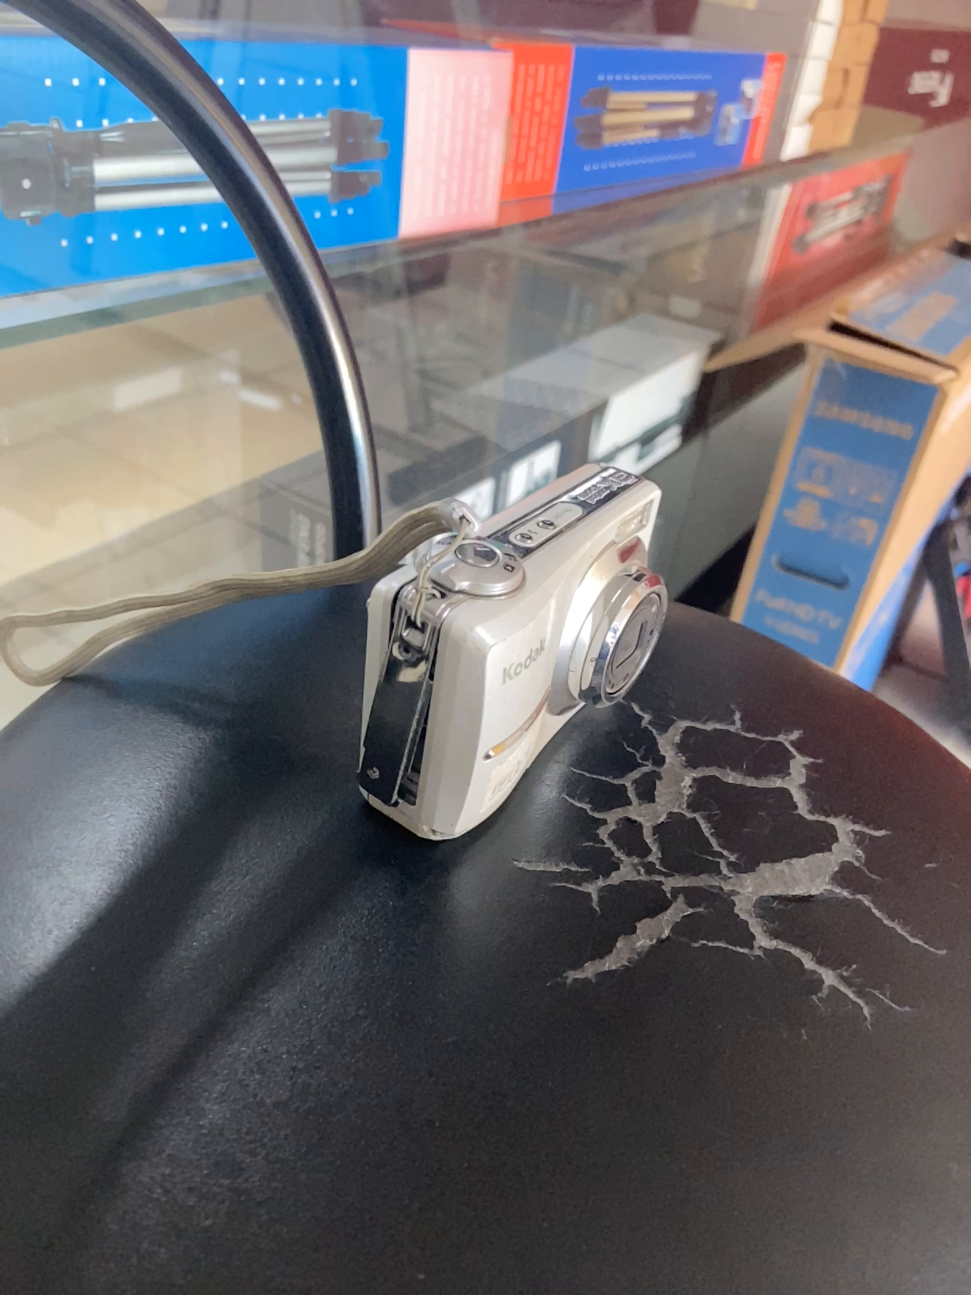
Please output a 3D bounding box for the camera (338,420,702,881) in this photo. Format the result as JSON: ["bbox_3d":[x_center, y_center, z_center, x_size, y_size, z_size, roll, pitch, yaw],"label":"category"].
[{"bbox_3d":[0.009,-0.004,0.245,0.040,0.070,0.091,24,37,22],"label":"camera"}]
